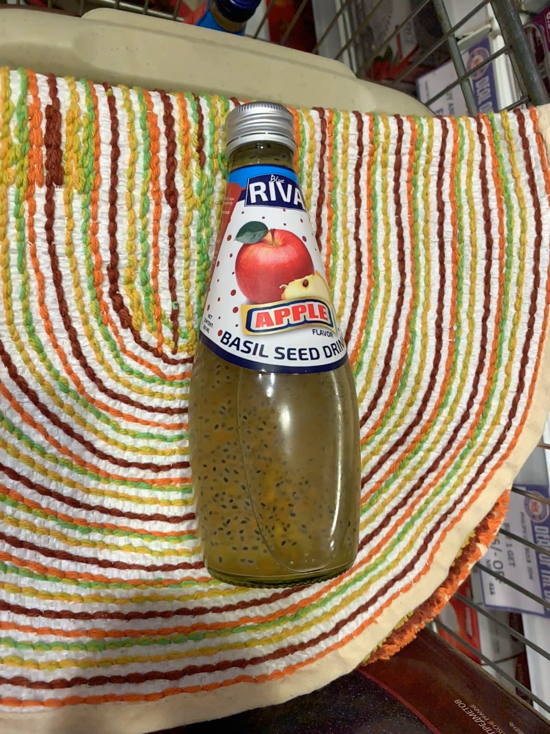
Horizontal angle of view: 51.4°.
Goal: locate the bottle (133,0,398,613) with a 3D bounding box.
[{"bbox_3d":[-0.009,-0.025,0.215,0.070,0.050,0.200,-2,82,-22],"label":"bottle"}]
